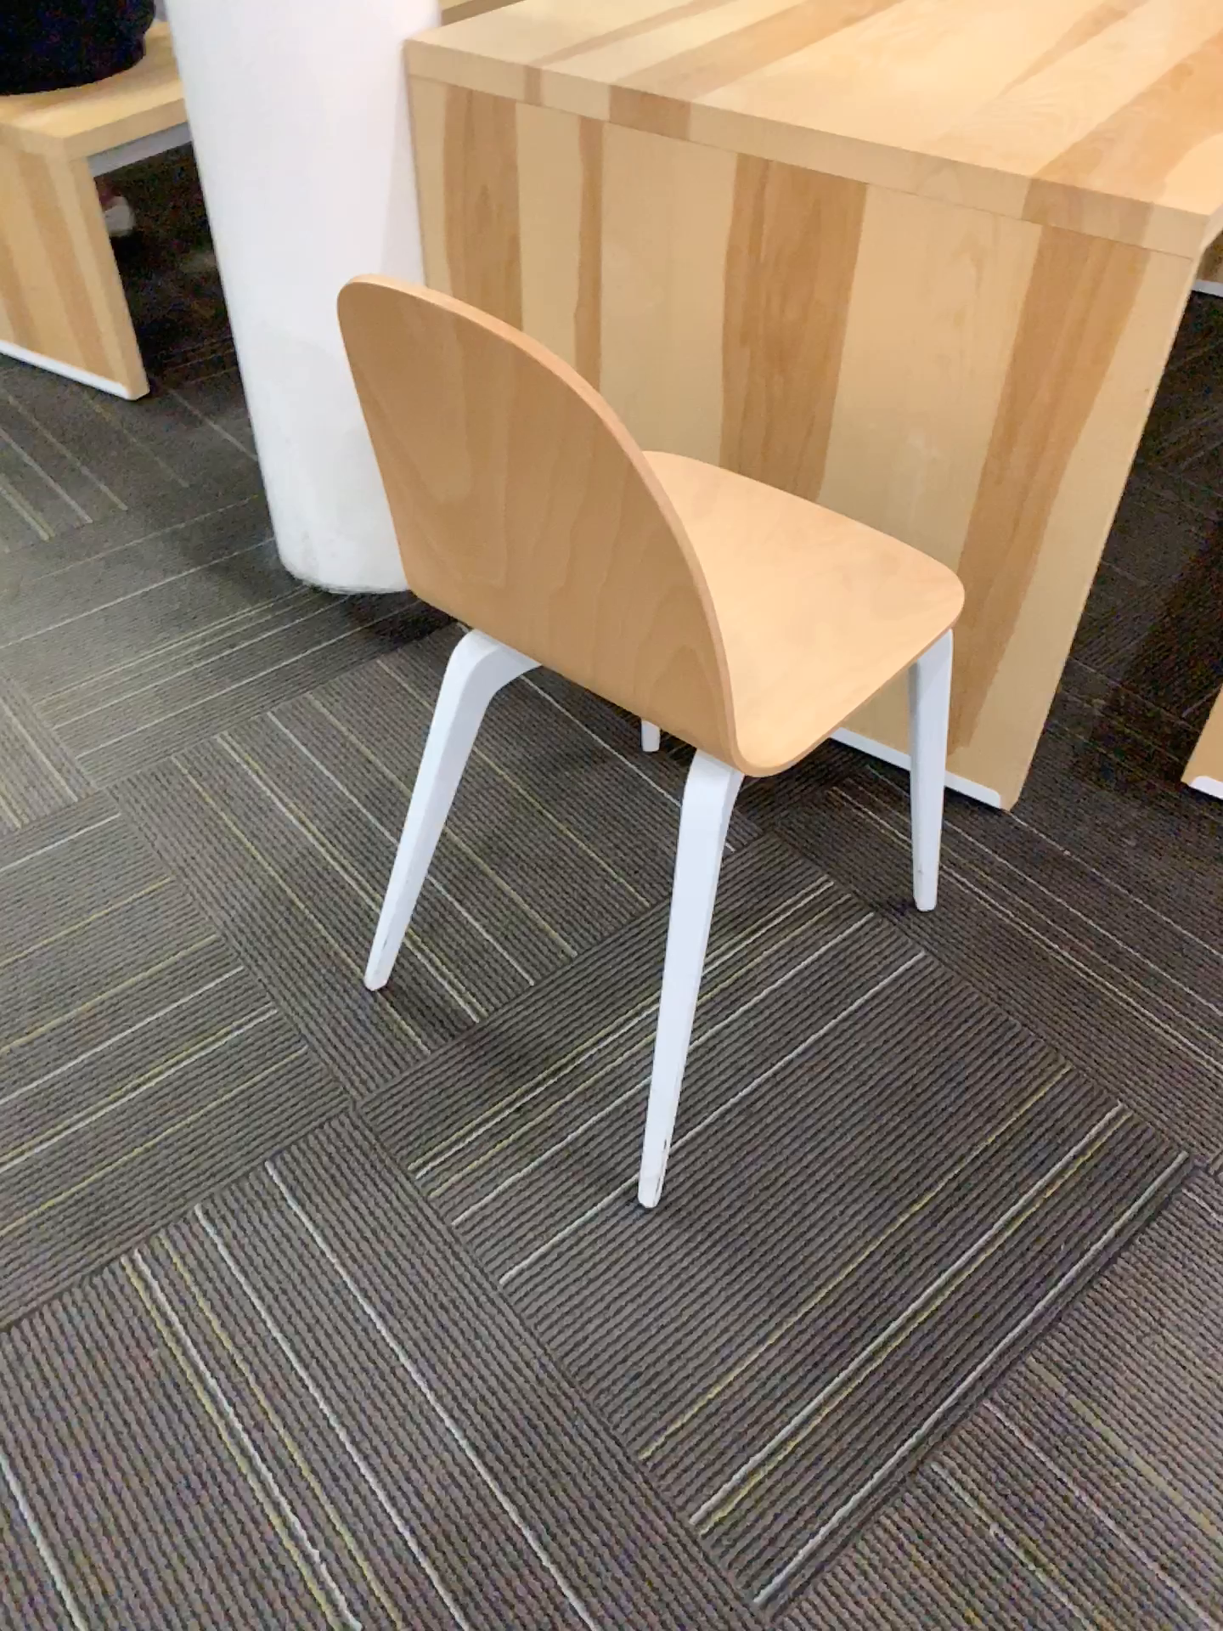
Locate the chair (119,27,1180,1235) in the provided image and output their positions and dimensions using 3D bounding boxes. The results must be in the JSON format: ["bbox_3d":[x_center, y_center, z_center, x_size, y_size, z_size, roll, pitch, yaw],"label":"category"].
[{"bbox_3d":[0.039,-0.158,1.151,0.501,0.815,0.551,30,52,26],"label":"chair"}]
